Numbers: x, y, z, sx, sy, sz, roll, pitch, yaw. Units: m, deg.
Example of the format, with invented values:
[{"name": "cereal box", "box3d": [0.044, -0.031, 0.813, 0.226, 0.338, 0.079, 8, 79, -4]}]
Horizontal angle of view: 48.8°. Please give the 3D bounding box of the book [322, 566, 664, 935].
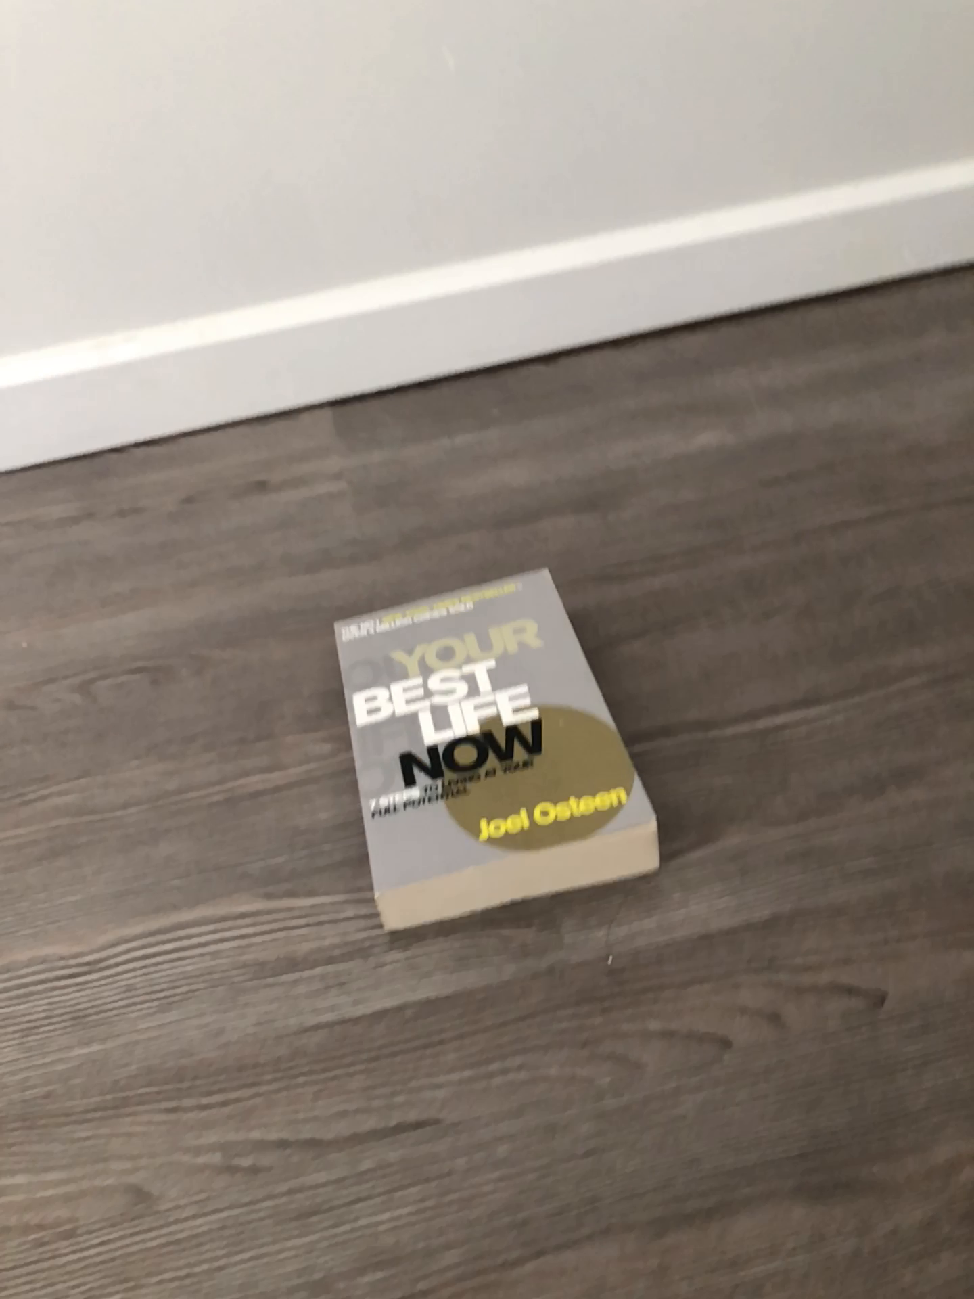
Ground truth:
[{"name": "book", "box3d": [-0.007, 0.040, 0.555, 0.136, 0.030, 0.202, -12, 40, -5]}]
